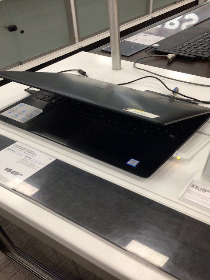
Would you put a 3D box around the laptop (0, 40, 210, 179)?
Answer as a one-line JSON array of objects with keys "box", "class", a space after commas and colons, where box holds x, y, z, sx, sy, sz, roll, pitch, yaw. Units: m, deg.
[{"box": [-0.010, -0.098, 0.607, 0.403, 0.107, 0.263, 24, 49, 28], "class": "laptop"}]

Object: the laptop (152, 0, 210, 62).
[{"box": [0.397, -0.421, 0.963, 0.318, 0.159, 0.283, 26, 49, 30], "class": "laptop"}]
